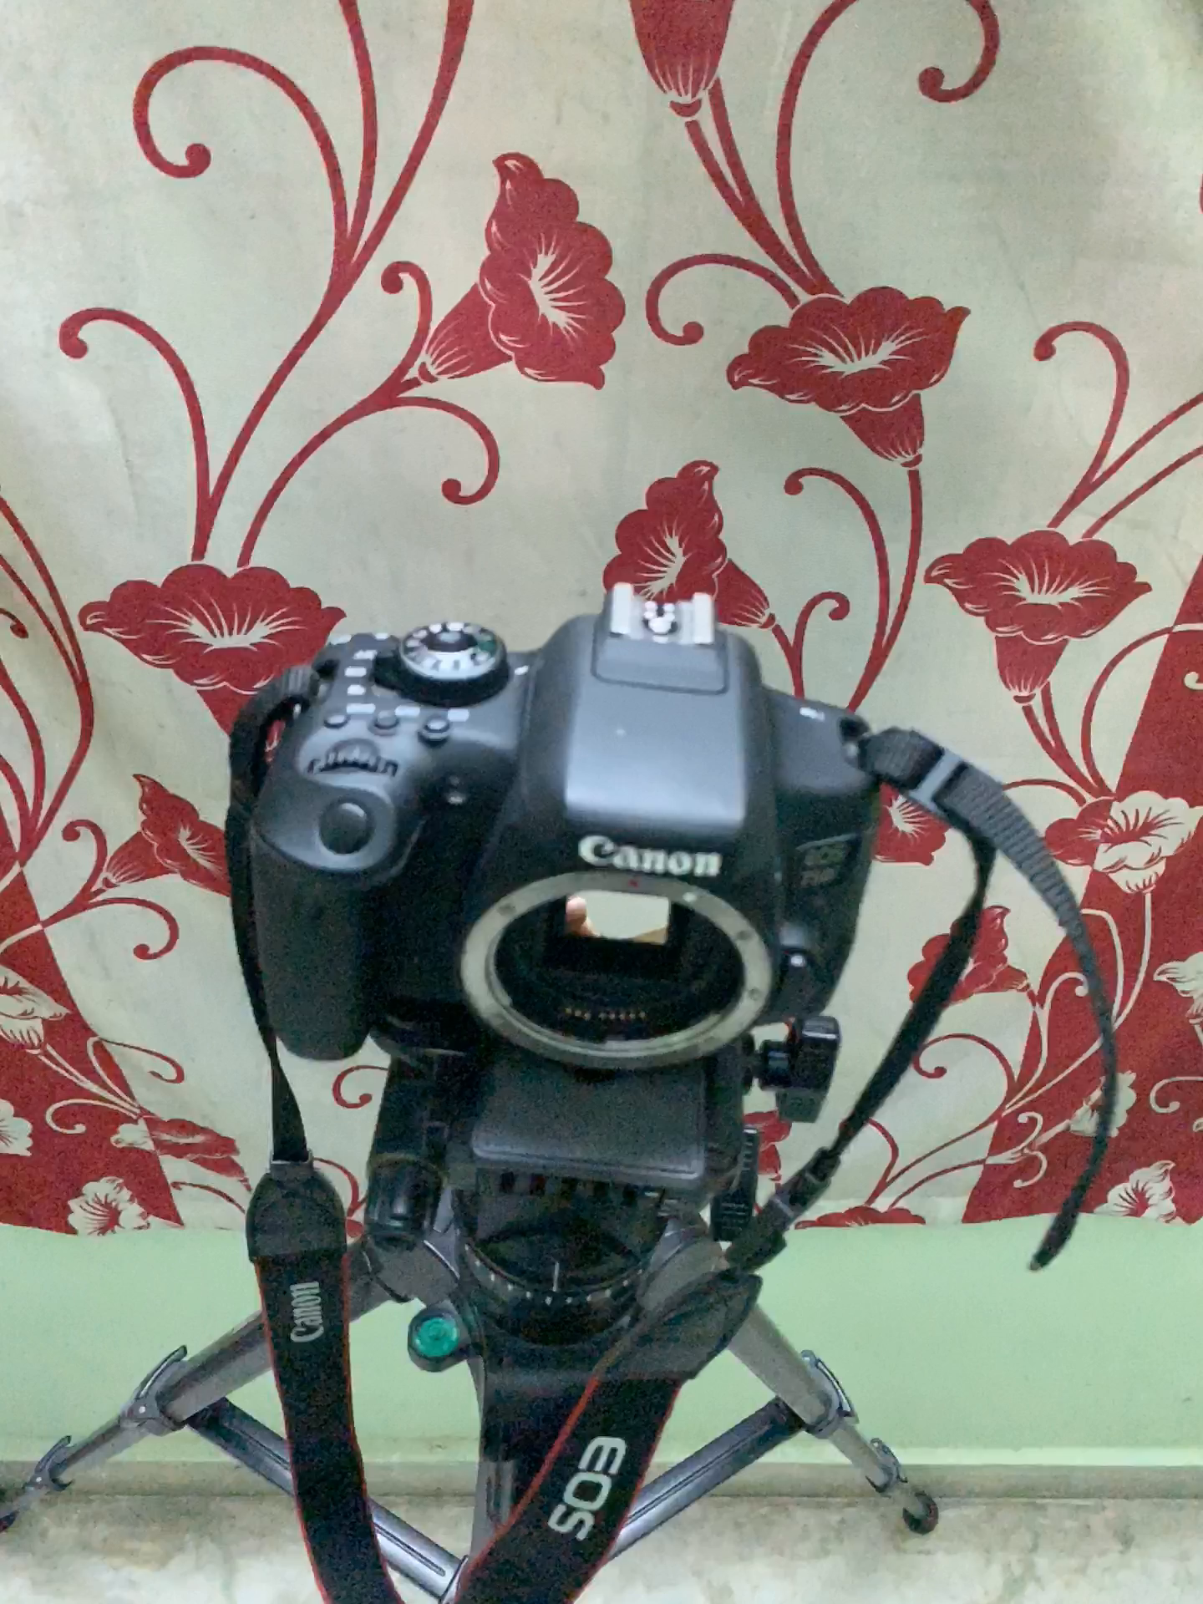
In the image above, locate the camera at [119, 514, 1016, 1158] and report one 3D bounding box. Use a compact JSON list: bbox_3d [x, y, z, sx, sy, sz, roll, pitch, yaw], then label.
[{"bbox_3d":[-0.007,0.007,0.255,0.142,0.088,0.085,5,41,-3],"label":"camera"}]
